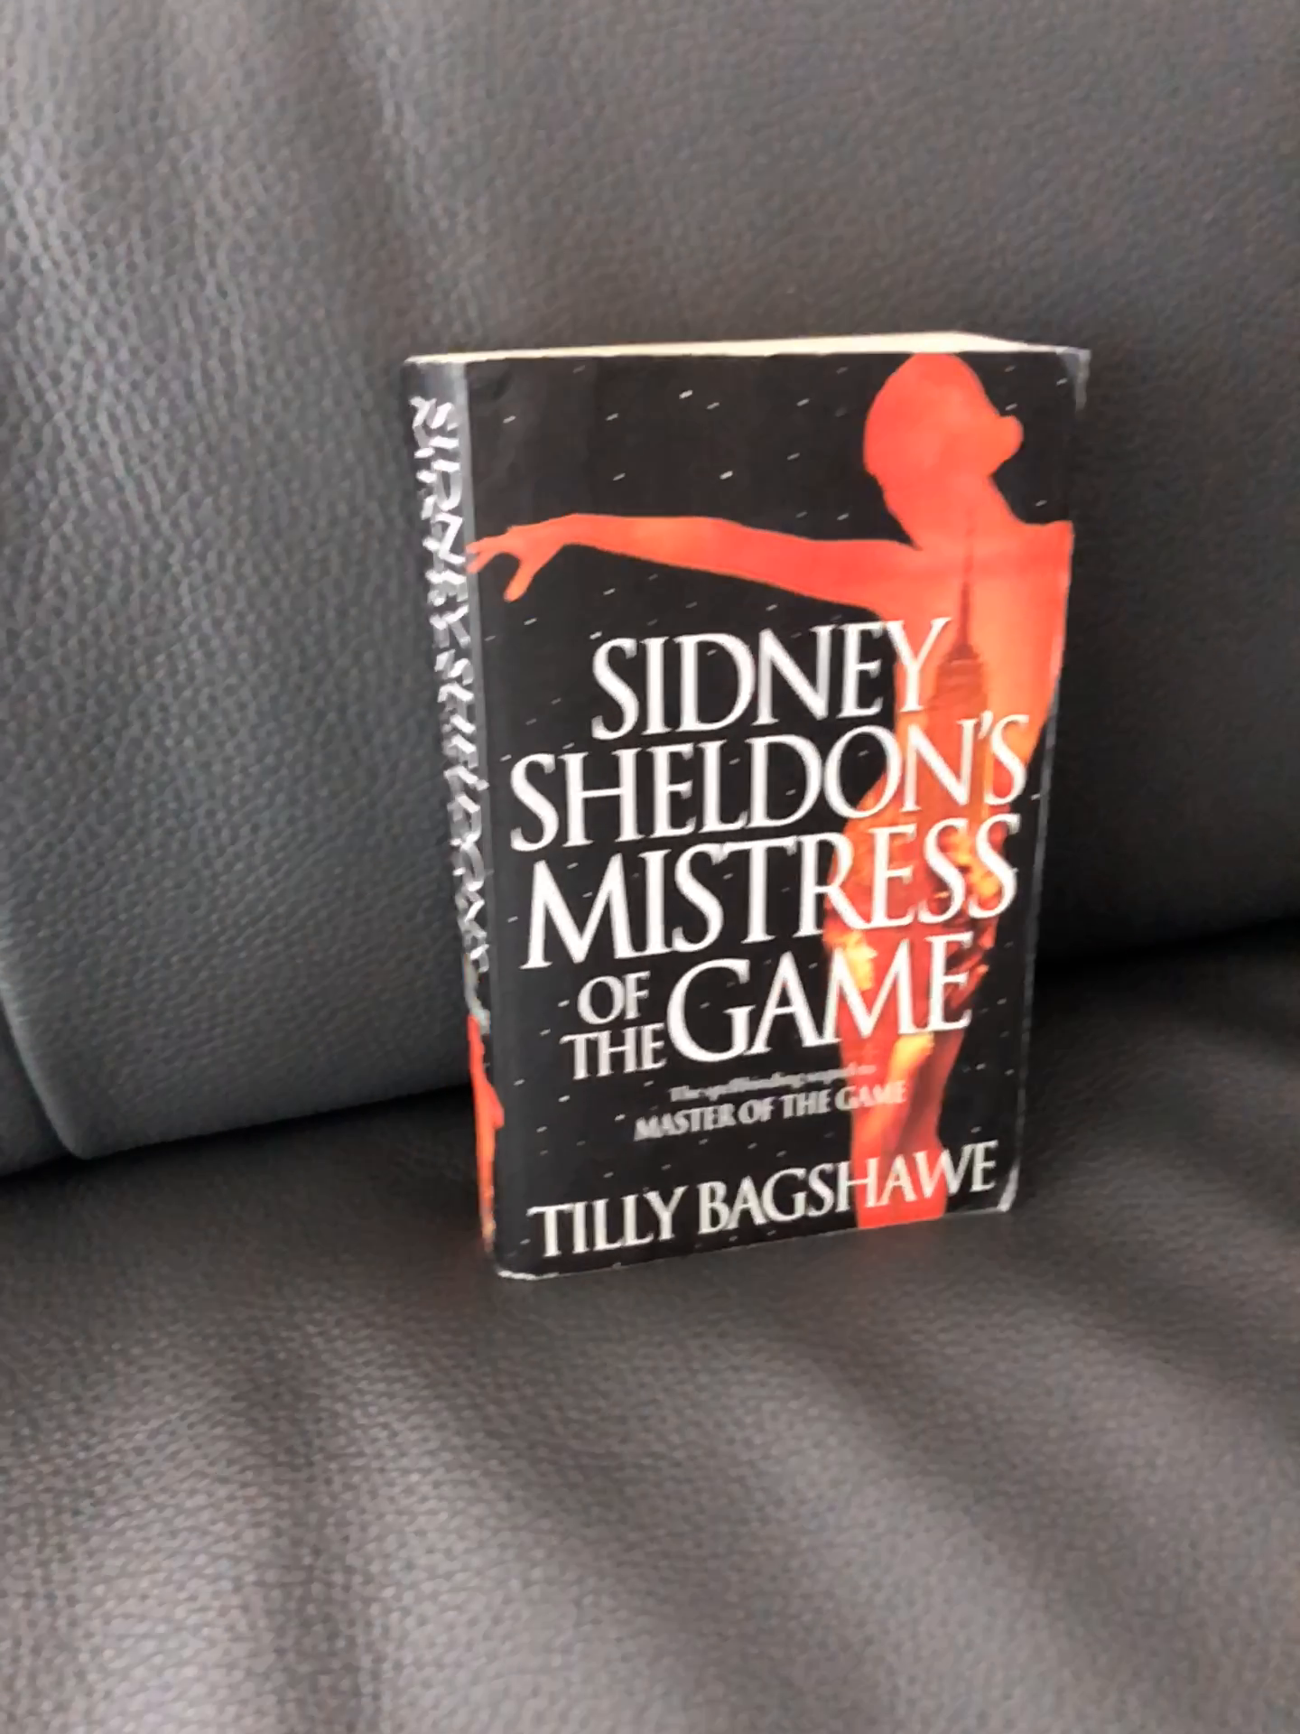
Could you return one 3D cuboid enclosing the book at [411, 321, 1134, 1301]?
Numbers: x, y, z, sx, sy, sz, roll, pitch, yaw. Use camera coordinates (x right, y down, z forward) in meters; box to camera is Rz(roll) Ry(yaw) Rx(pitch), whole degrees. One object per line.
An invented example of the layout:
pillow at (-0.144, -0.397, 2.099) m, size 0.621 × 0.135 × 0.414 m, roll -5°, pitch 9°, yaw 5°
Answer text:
book at (0.021, -0.011, 0.290) m, size 0.118 × 0.179 × 0.046 m, roll -6°, pitch 23°, yaw -11°
